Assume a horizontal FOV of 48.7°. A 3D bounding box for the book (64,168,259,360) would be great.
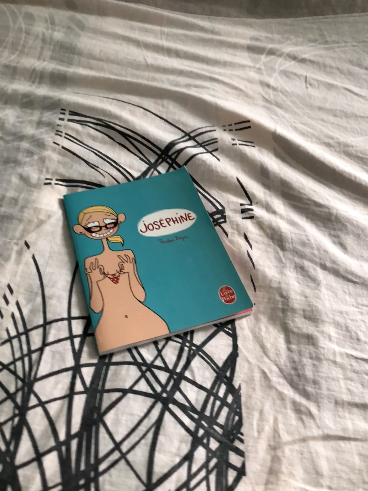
[{"bbox_3d":[-0.032,0.003,0.404,0.144,0.014,0.188,-14,53,-12],"label":"book"}]
